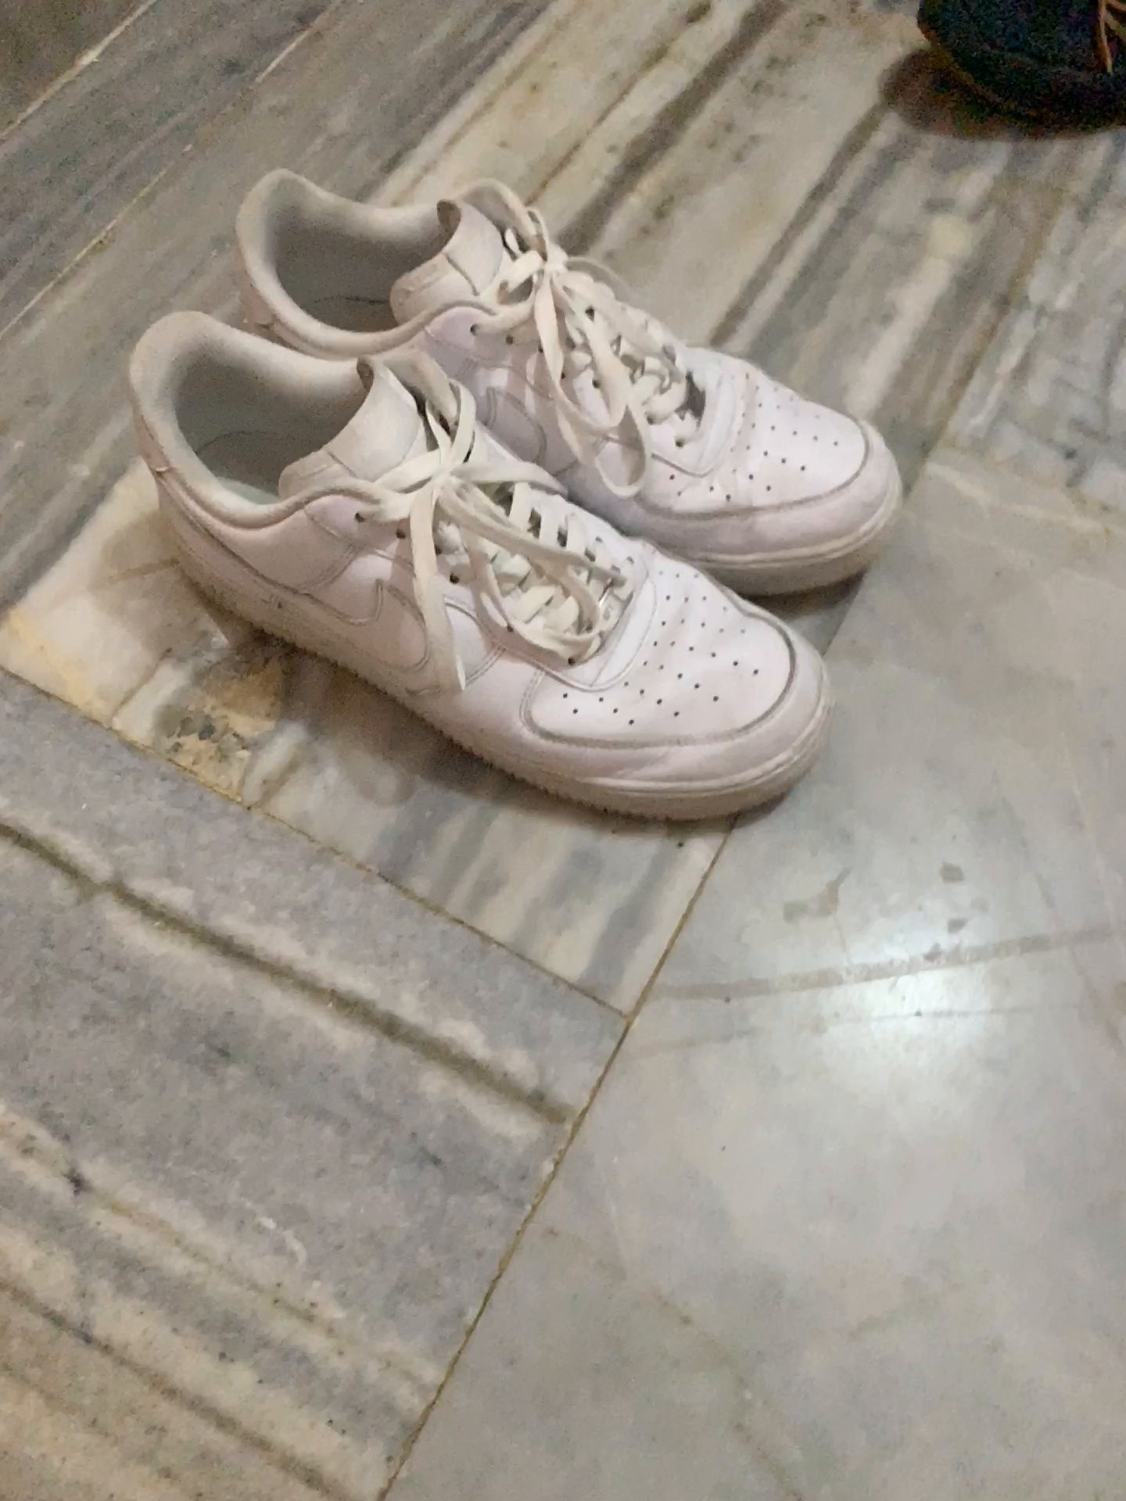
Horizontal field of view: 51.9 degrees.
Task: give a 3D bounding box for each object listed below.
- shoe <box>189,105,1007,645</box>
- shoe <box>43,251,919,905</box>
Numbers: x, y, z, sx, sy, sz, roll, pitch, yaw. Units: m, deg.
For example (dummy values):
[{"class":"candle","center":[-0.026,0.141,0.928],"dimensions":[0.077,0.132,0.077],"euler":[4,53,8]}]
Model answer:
[{"class":"shoe","center":[0.014,-0.166,0.519],"dimensions":[0.310,0.120,0.110],"euler":[17,65,8]},{"class":"shoe","center":[-0.035,-0.071,0.482],"dimensions":[0.310,0.120,0.110],"euler":[26,67,11]}]
